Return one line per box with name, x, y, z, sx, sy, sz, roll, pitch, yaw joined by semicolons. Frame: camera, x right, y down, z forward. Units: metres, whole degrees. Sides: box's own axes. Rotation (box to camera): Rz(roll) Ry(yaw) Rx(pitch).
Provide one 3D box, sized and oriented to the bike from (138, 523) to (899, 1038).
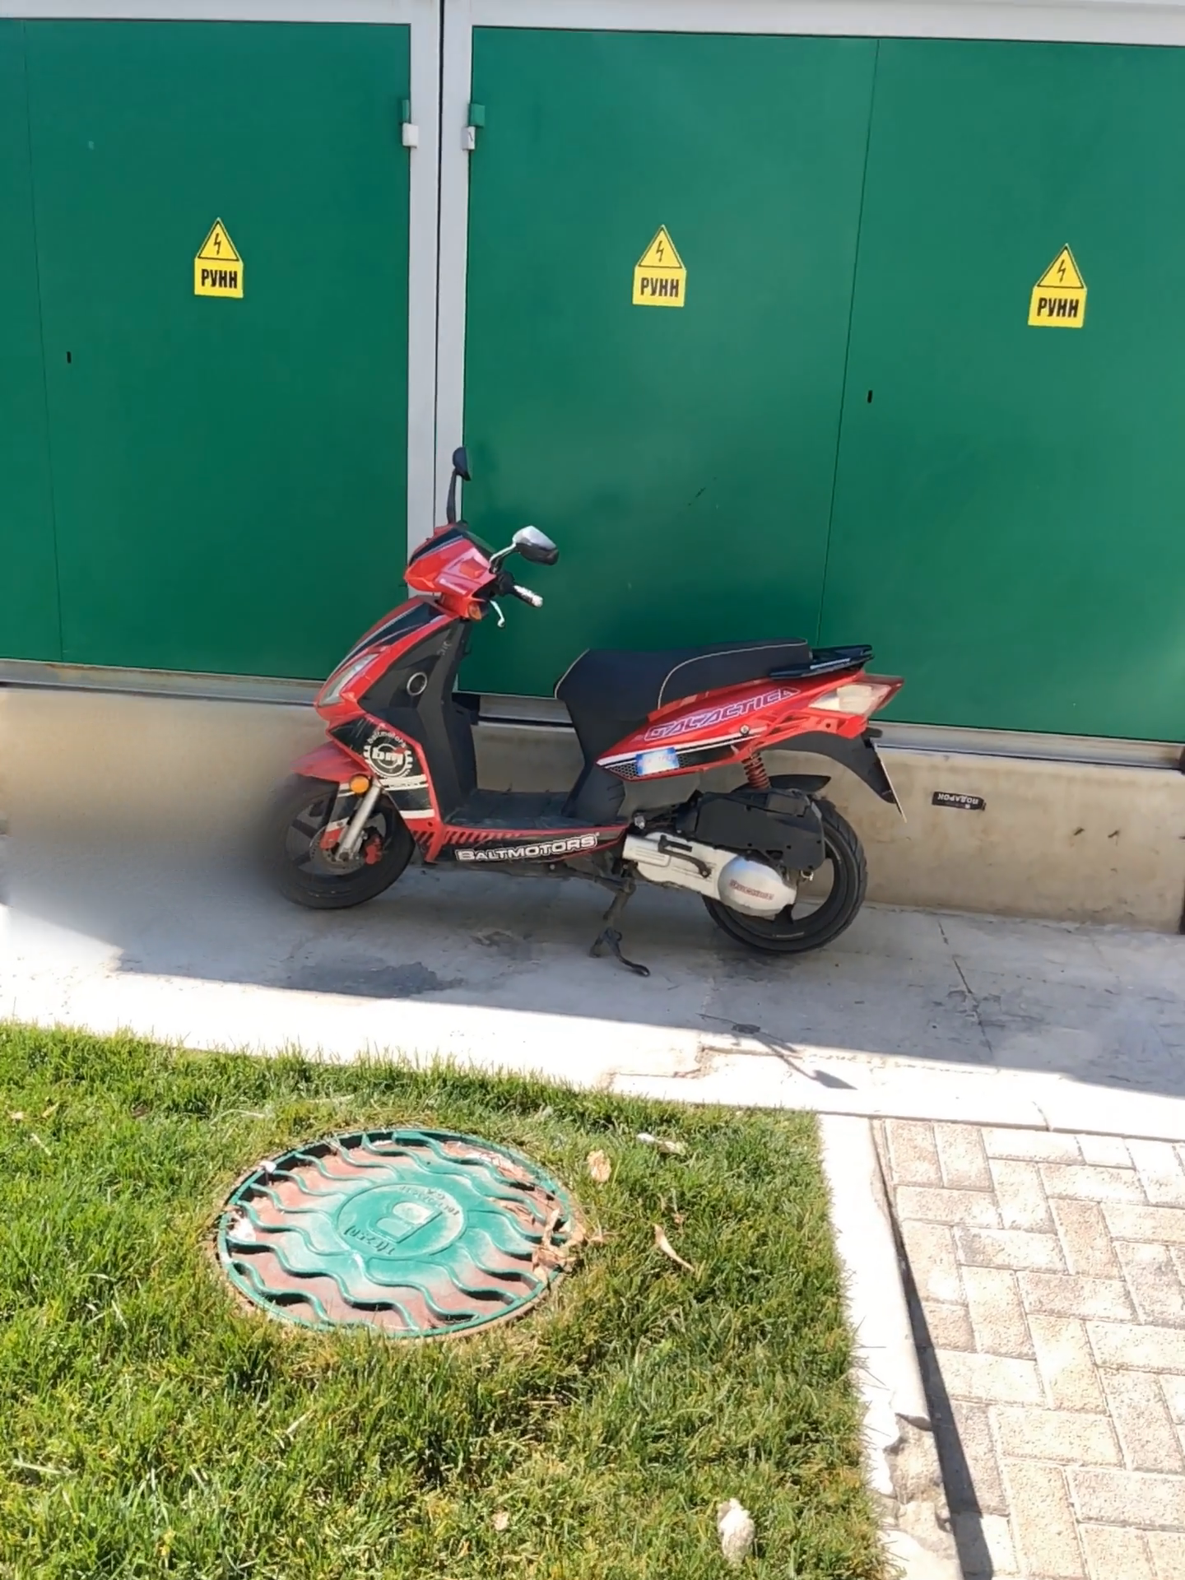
bike;-0.135;-0.064;3.224;1.590;1.087;0.590;4;14;6
